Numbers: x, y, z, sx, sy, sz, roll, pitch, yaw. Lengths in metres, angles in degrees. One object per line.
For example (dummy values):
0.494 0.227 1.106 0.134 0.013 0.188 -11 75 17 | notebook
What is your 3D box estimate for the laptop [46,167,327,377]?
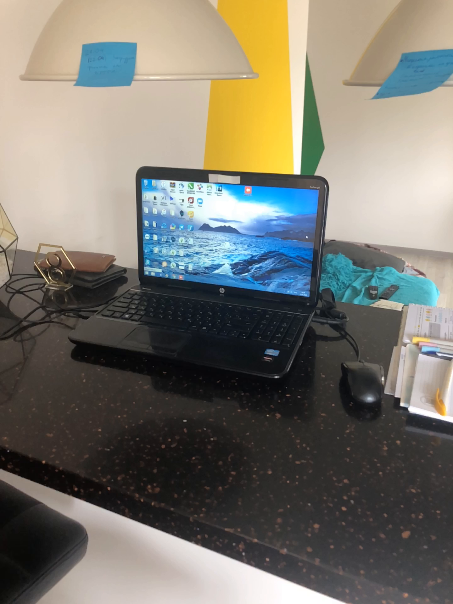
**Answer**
-0.045 -0.077 0.826 0.361 0.217 0.268 8 26 19 | laptop
